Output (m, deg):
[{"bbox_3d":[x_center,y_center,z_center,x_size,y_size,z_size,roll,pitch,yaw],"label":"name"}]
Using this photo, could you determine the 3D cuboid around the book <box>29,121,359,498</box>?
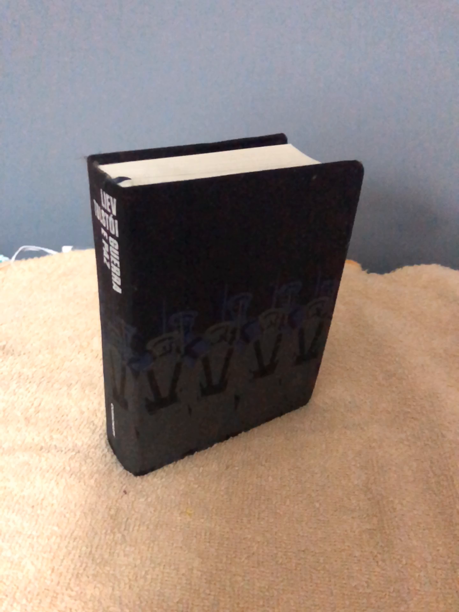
[{"bbox_3d":[-0.017,-0.001,0.296,0.150,0.179,0.060,-17,37,-28],"label":"book"}]
